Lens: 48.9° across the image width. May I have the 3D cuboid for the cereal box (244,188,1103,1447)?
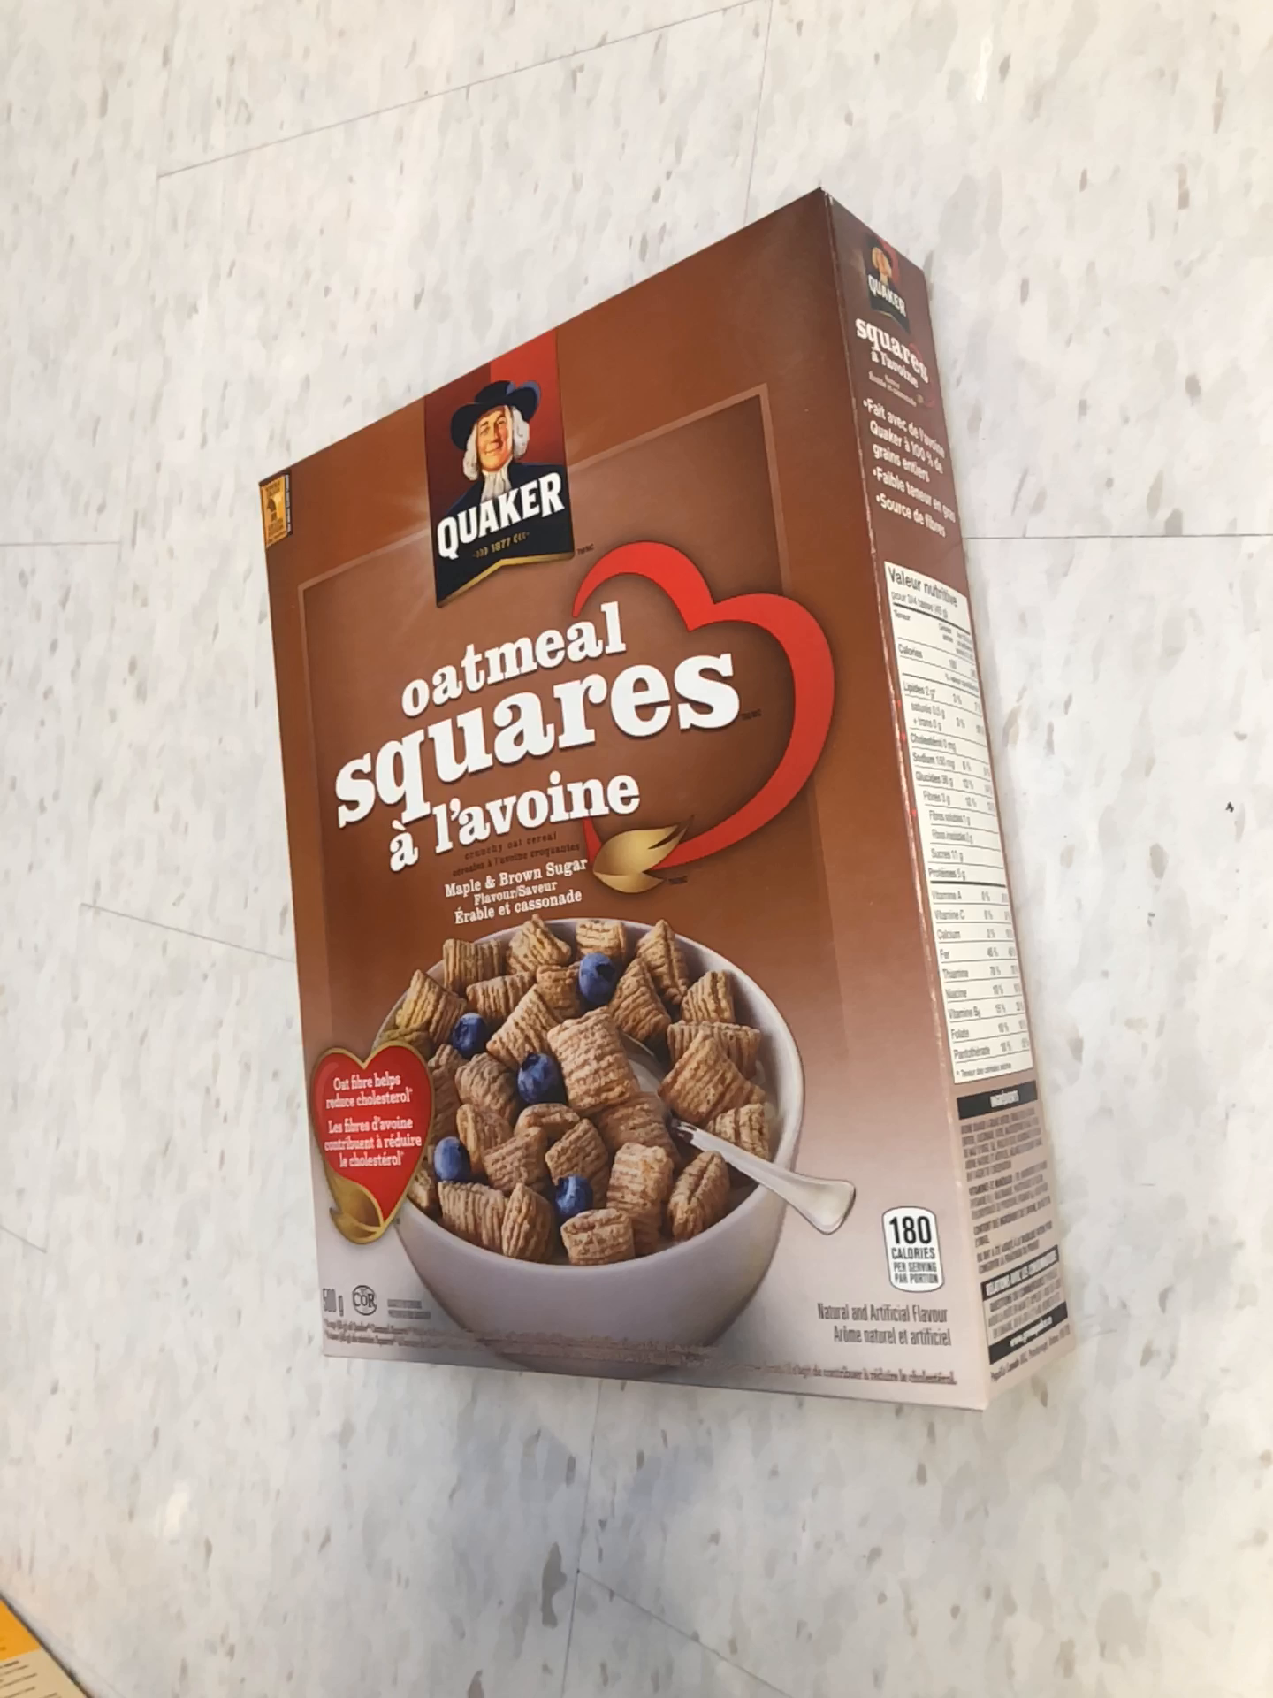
[{"bbox_3d":[-0.007,0.003,0.387,0.211,0.070,0.270,-12,80,37],"label":"cereal box"}]
